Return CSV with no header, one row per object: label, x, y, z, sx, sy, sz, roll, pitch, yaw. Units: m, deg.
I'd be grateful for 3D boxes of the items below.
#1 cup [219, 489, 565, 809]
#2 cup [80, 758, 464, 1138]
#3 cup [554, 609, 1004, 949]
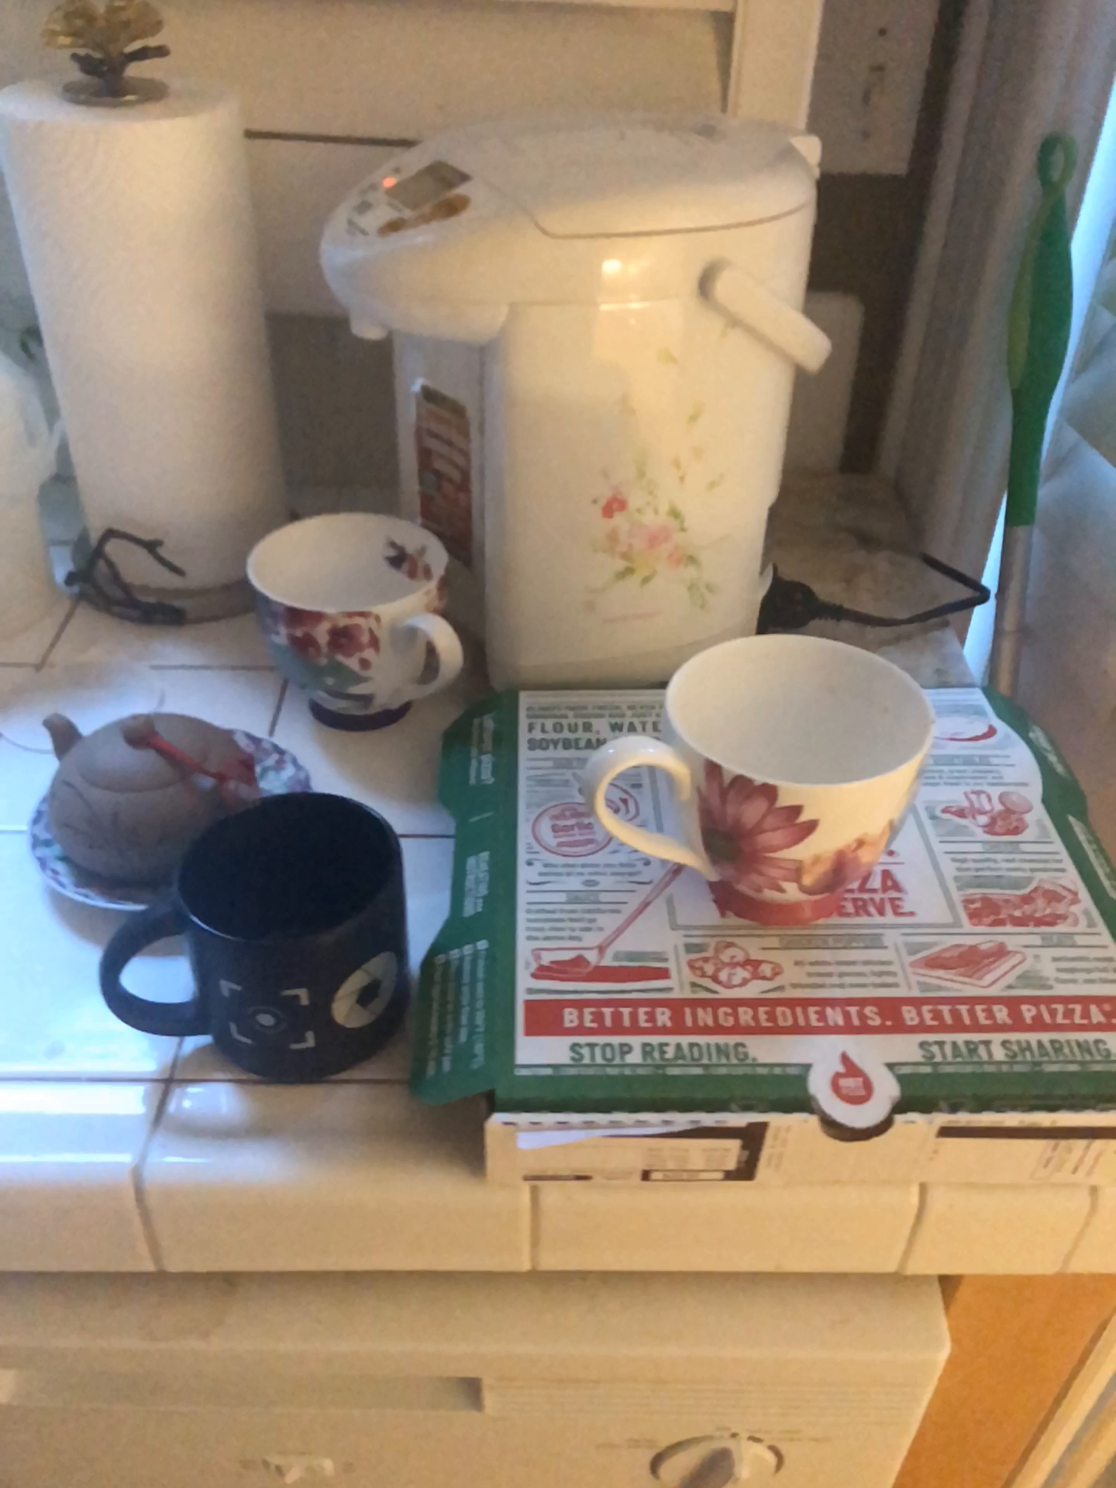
cup,-0.093,-0.060,0.702,0.160,0.089,0.111,31,46,32
cup,-0.121,0.084,0.531,0.140,0.099,0.091,-10,39,-15
cup,0.086,0.009,0.527,0.150,0.069,0.111,-8,39,-13
